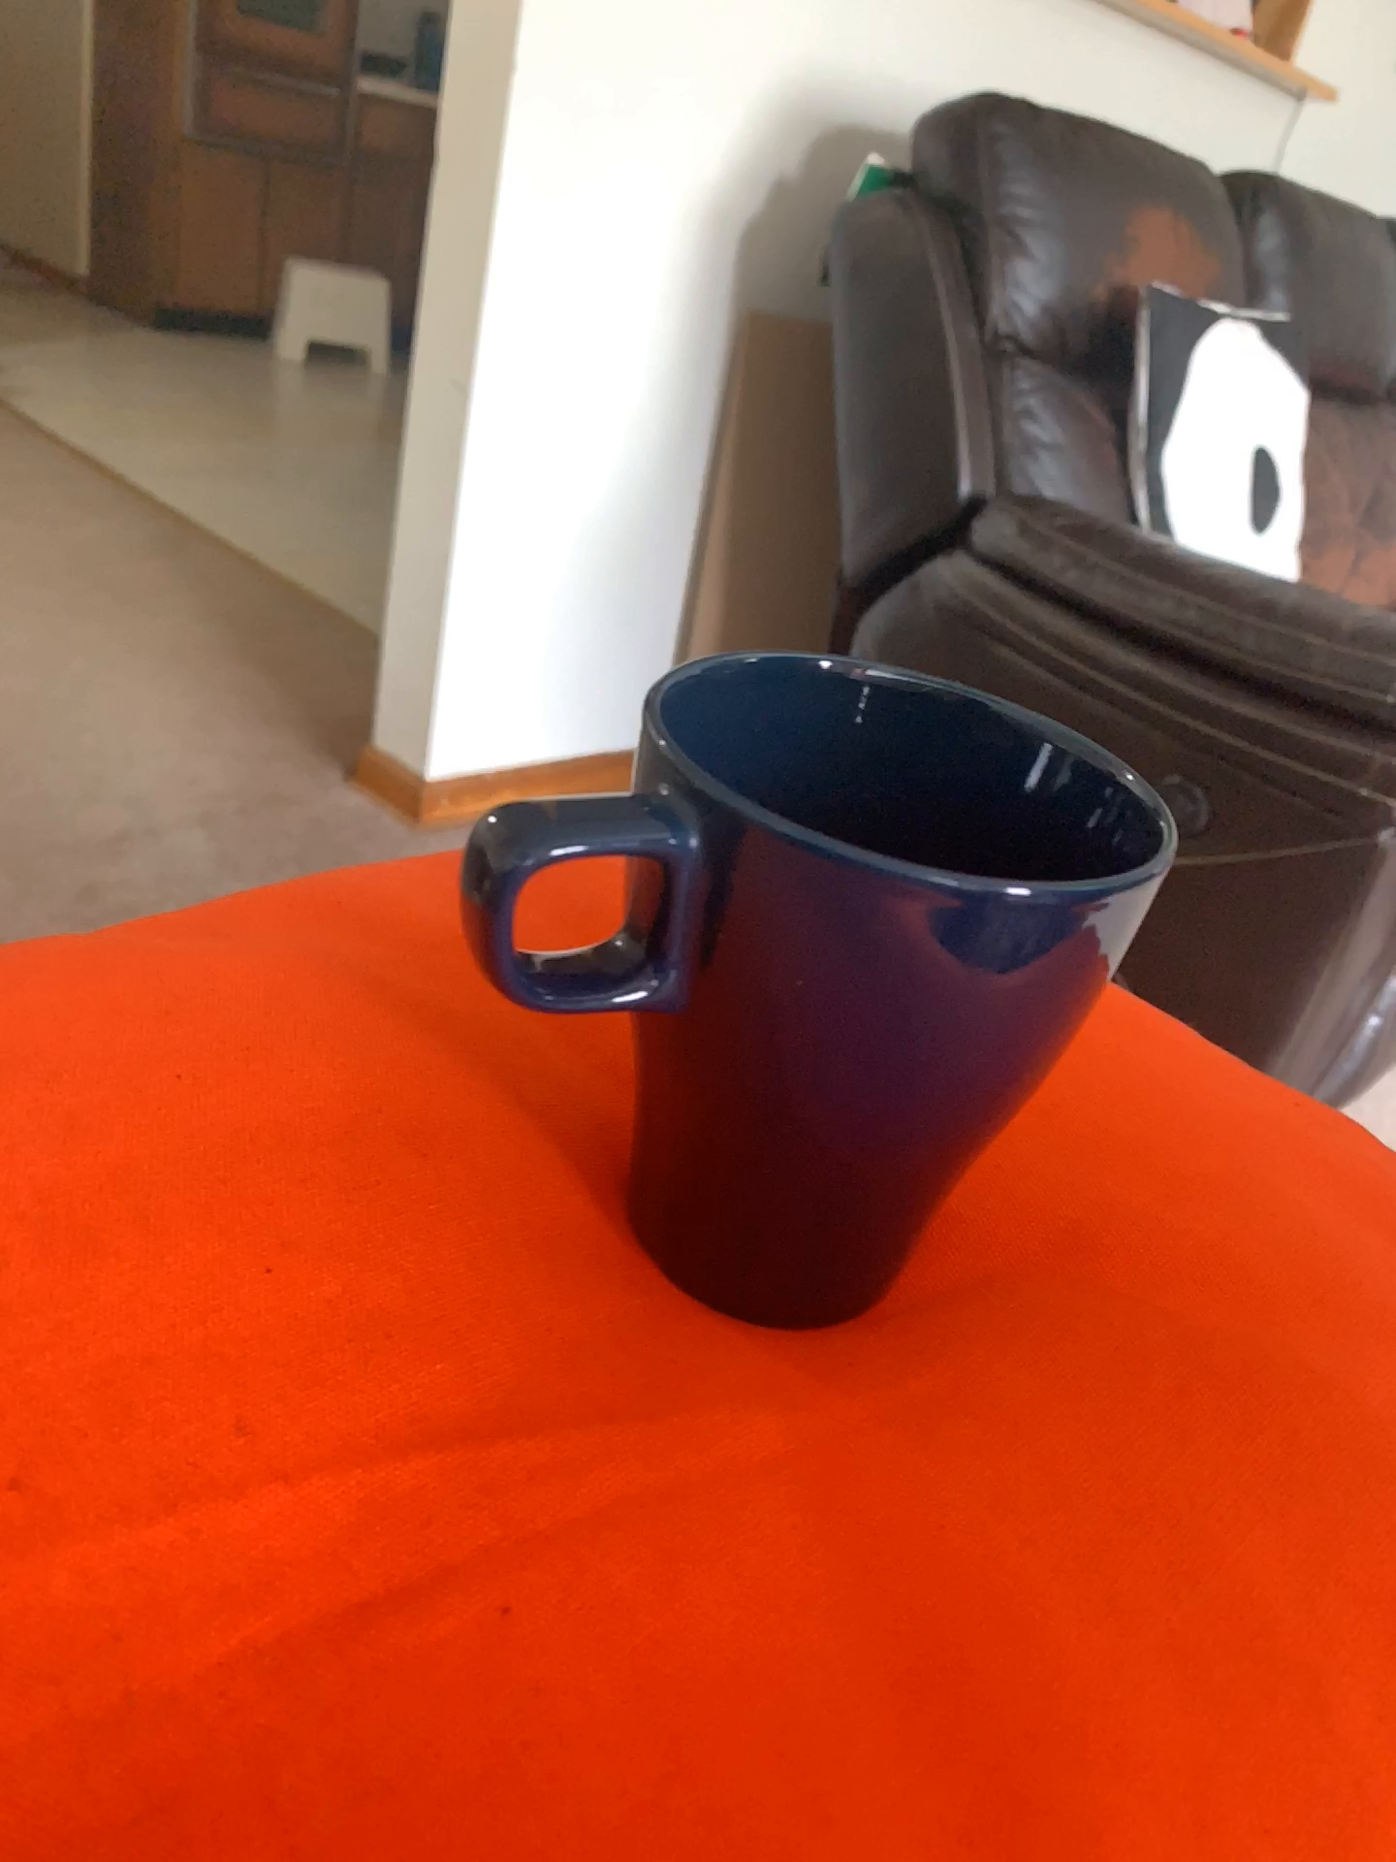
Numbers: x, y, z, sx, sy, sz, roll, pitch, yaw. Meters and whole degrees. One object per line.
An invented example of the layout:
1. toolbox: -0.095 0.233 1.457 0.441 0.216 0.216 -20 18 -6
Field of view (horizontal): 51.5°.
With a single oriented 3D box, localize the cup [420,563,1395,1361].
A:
1. cup: 0.031 -0.004 0.230 0.120 0.079 0.080 -5 32 -32
